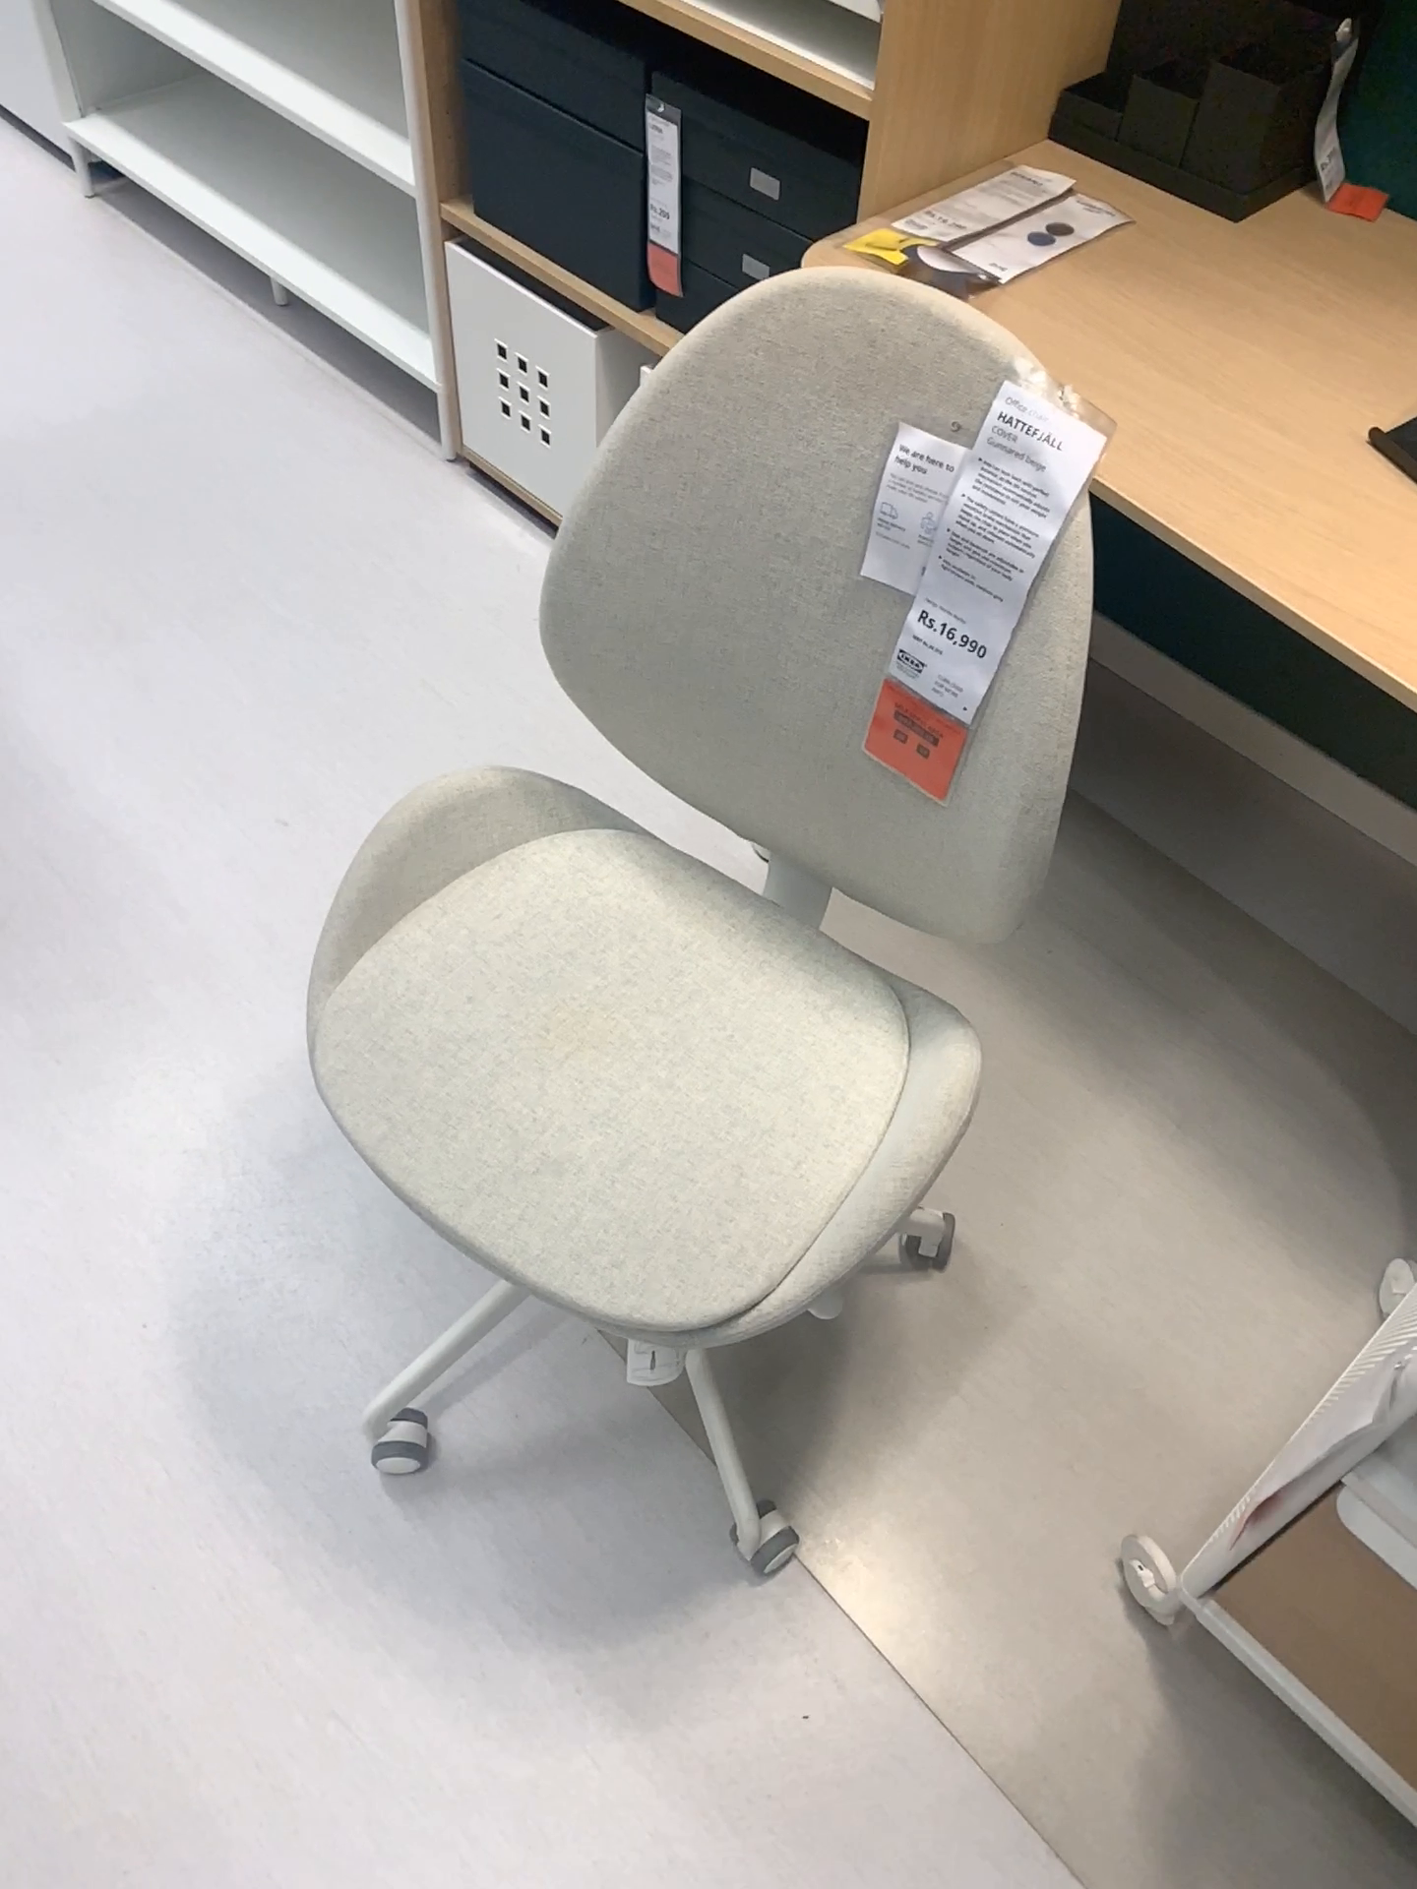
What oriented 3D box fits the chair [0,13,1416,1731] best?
[{"bbox_3d":[-0.069,0.010,1.118,0.631,0.997,0.641,32,56,20],"label":"chair"}]
